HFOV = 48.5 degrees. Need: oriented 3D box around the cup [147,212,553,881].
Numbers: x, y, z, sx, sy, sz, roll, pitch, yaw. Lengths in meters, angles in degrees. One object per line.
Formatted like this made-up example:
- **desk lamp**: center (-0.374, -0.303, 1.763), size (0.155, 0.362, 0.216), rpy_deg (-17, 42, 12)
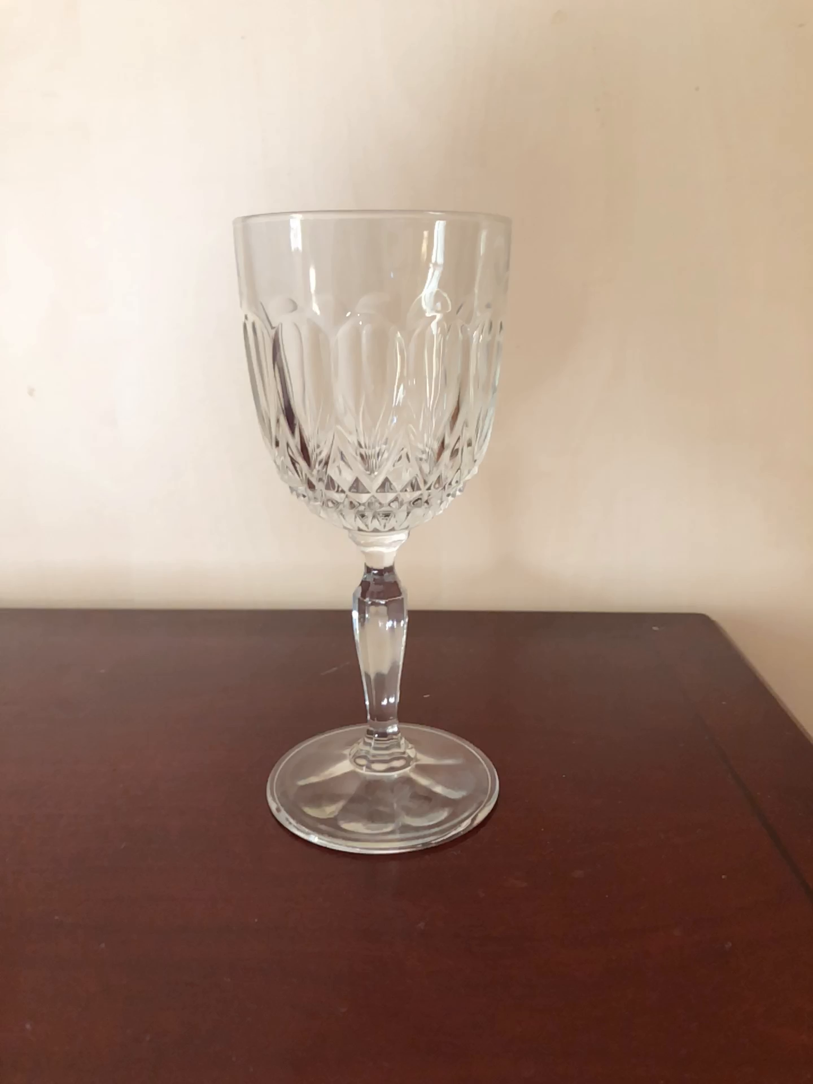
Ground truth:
- **cup**: center (-0.010, -0.003, 0.279), size (0.095, 0.179, 0.092), rpy_deg (-1, 16, 0)
